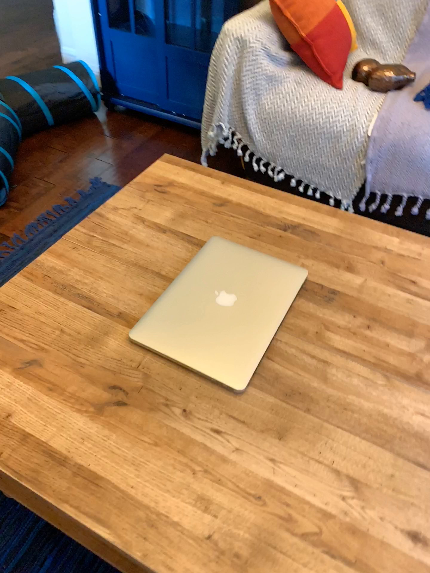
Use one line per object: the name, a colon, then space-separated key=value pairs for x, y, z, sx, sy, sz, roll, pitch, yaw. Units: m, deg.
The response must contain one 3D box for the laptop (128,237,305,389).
laptop: x=0.016 y=0.027 z=0.797 sx=0.208 sy=0.002 sz=0.299 roll=22 pitch=48 yaw=18
